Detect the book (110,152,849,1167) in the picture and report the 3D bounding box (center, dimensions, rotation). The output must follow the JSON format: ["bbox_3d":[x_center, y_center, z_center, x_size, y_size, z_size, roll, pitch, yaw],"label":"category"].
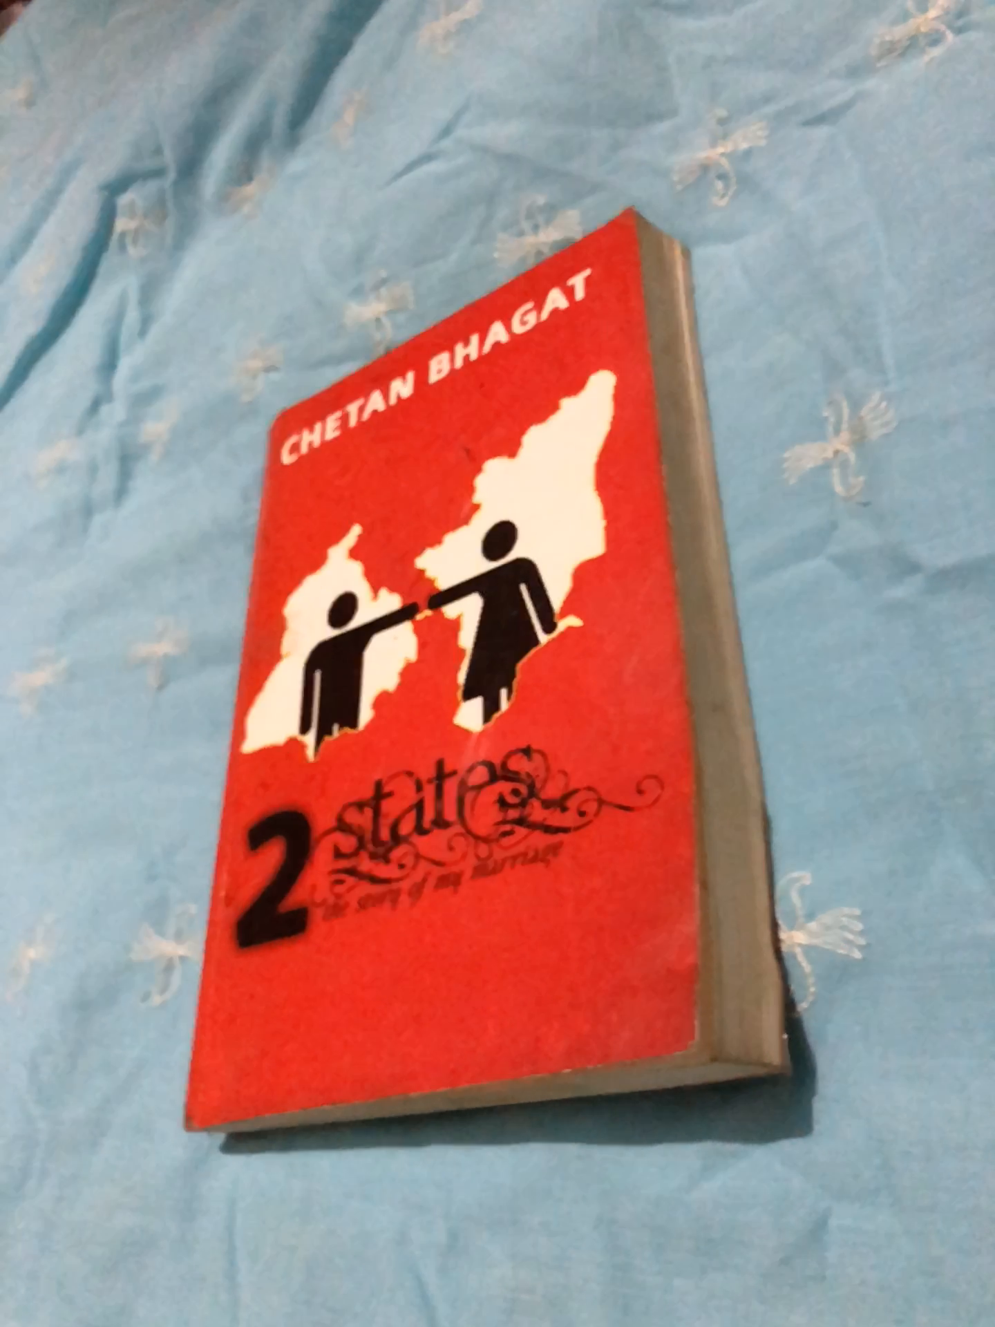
[{"bbox_3d":[-0.013,-0.004,0.252,0.140,0.030,0.200,-20,54,29],"label":"book"}]
